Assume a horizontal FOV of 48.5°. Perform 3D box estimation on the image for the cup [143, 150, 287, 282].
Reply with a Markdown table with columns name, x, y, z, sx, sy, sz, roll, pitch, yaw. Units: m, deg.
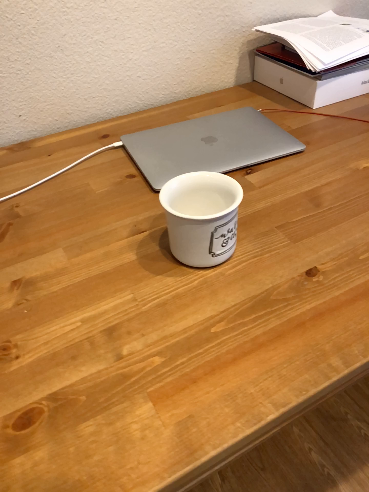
| name | x | y | z | sx | sy | sz | roll | pitch | yaw |
| --- | --- | --- | --- | --- | --- | --- | --- | --- | --- |
| cup | 0.044 | -0.048 | 0.558 | 0.120 | 0.080 | 0.150 | 28 | 50 | 32 |
